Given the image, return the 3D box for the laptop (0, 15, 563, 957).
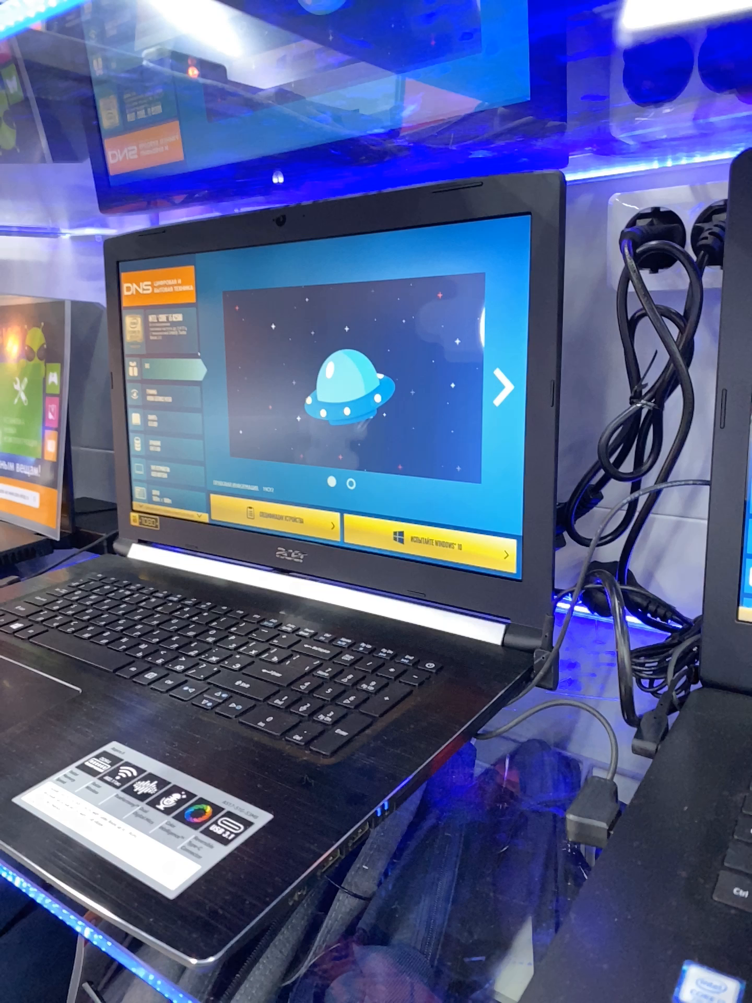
[{"bbox_3d":[-0.145,-0.040,0.471,0.424,0.278,0.311,6,16,35],"label":"laptop"}]
